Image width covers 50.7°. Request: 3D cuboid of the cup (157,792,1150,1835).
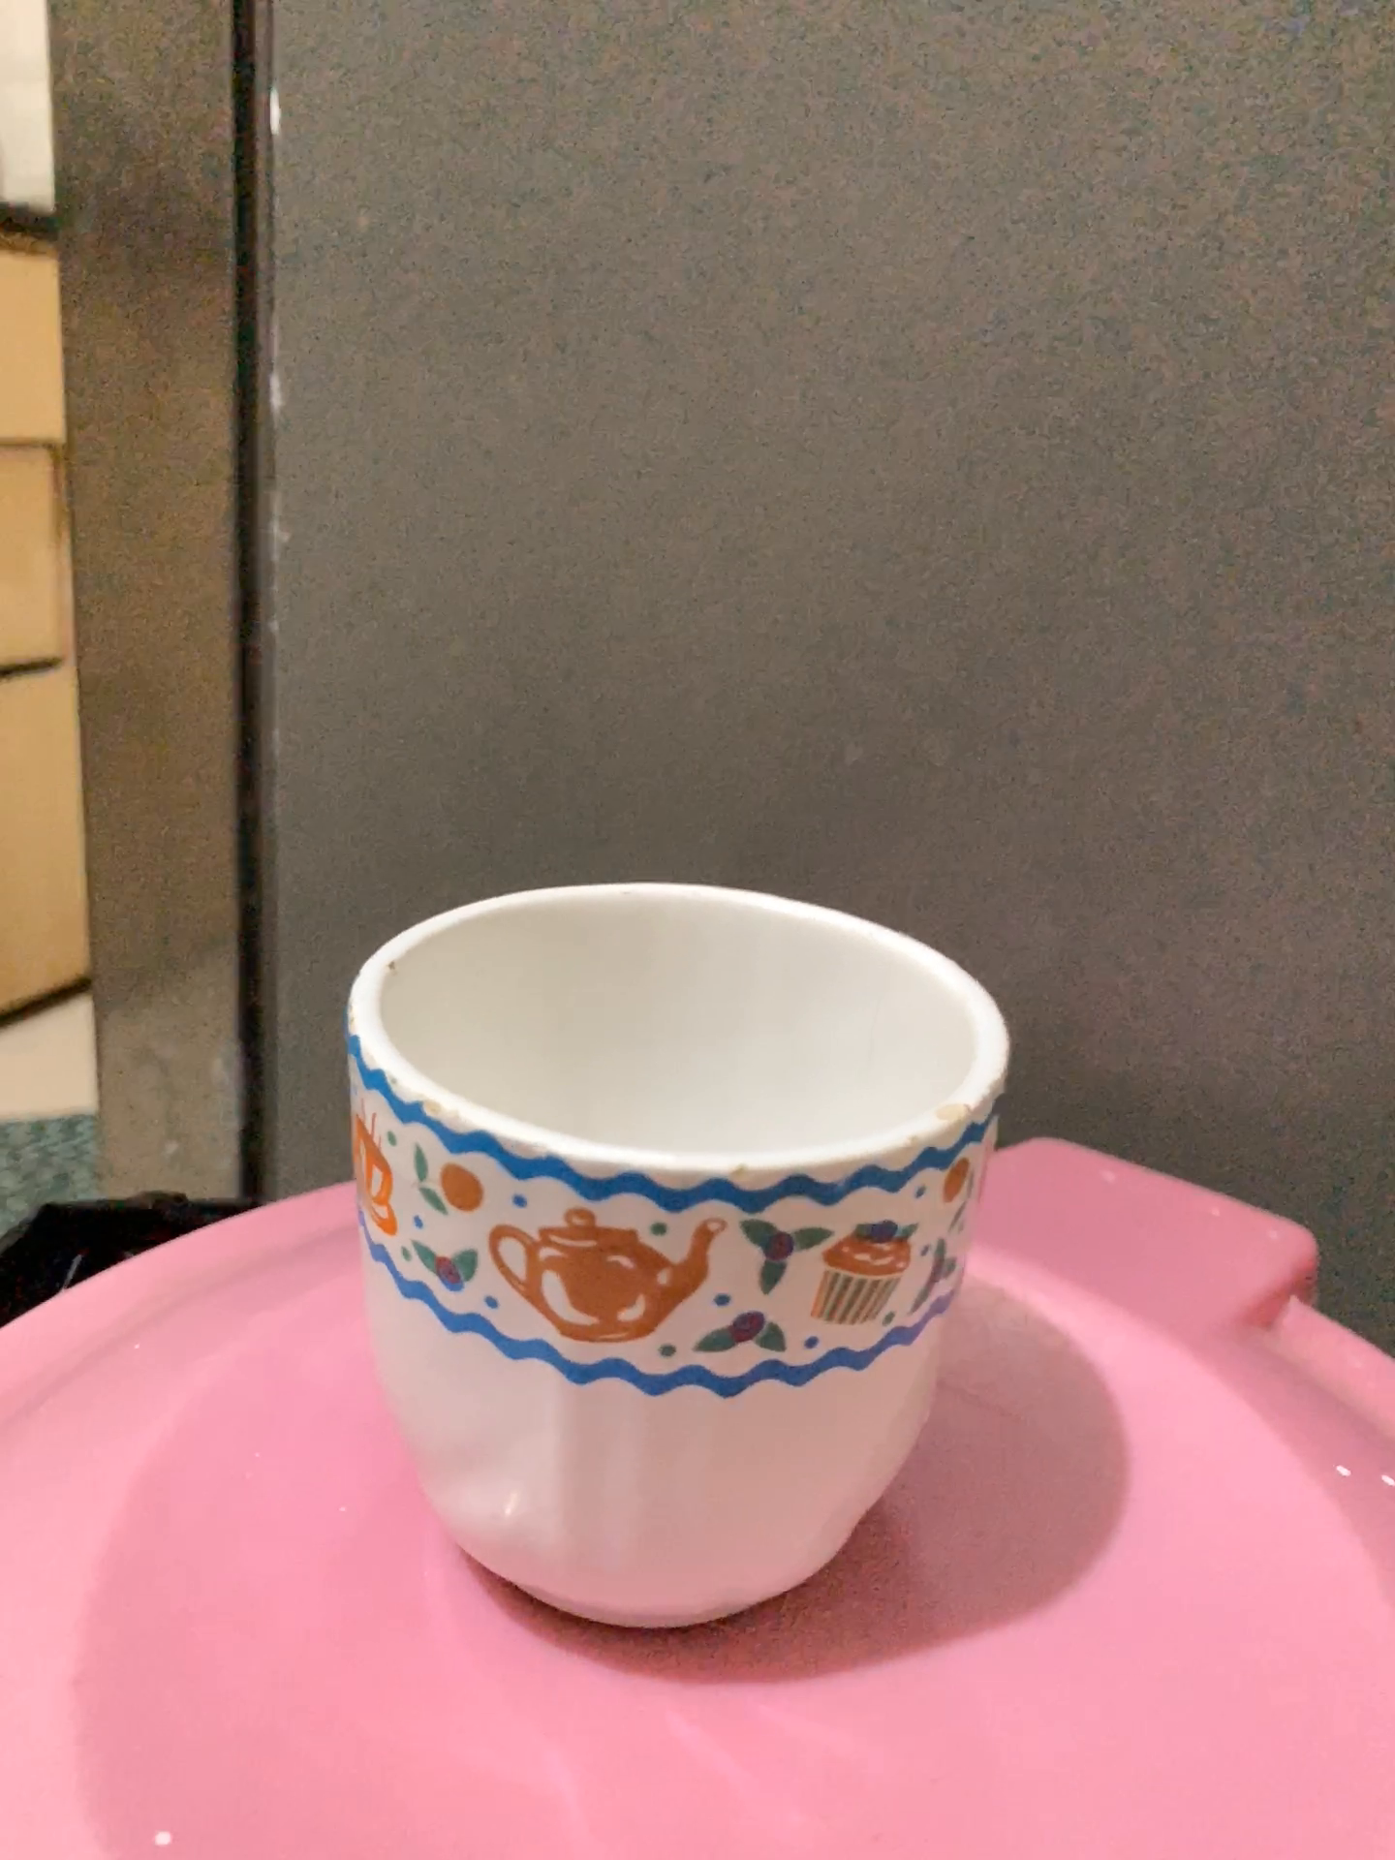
[{"bbox_3d":[-0.003,0.029,0.160,0.076,0.062,0.072,5,19,-2],"label":"cup"}]
